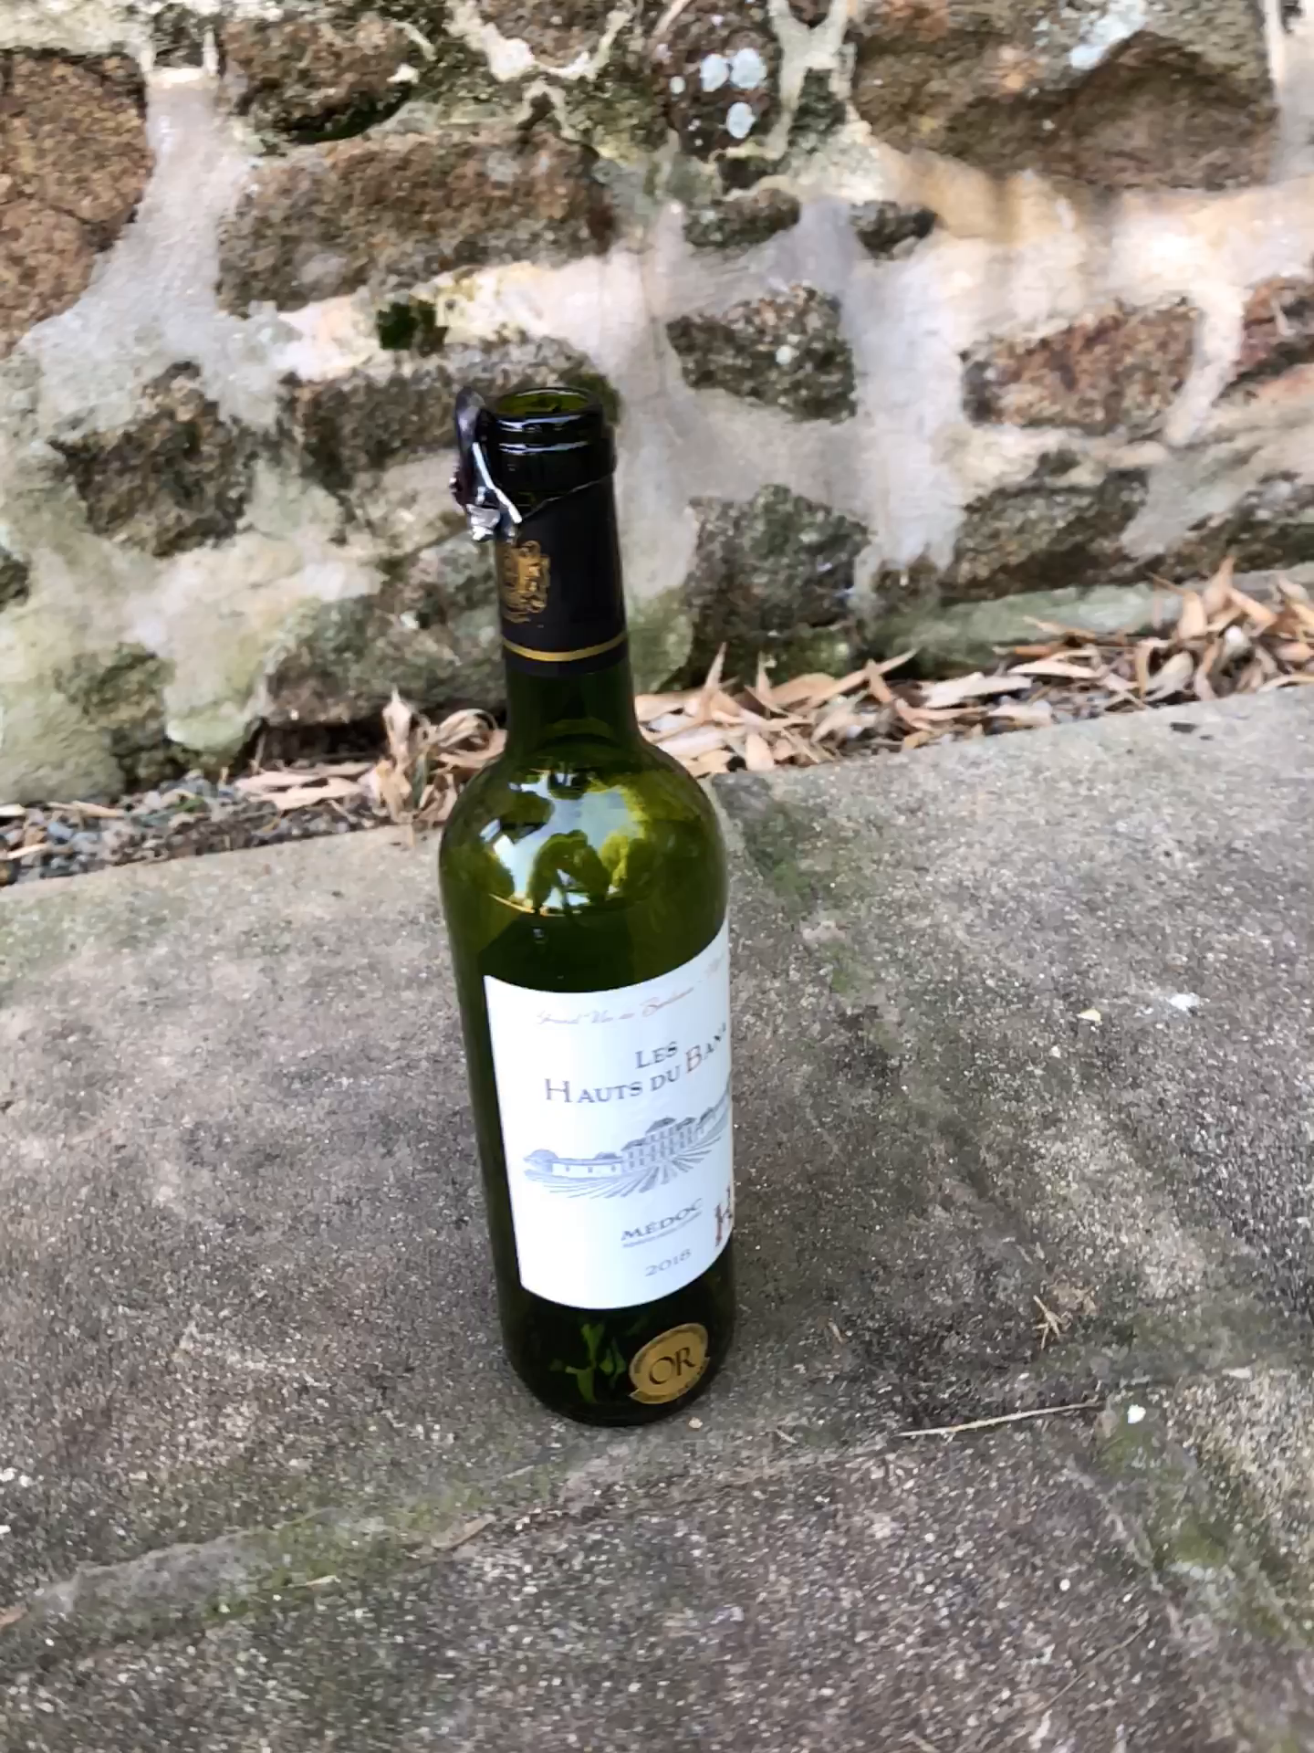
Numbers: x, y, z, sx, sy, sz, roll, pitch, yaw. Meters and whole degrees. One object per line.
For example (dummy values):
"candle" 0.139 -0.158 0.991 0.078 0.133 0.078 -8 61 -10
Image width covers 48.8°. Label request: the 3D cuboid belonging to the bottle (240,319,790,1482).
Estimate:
"bottle" -0.025 0.019 0.379 0.090 0.288 0.080 -18 36 -22
